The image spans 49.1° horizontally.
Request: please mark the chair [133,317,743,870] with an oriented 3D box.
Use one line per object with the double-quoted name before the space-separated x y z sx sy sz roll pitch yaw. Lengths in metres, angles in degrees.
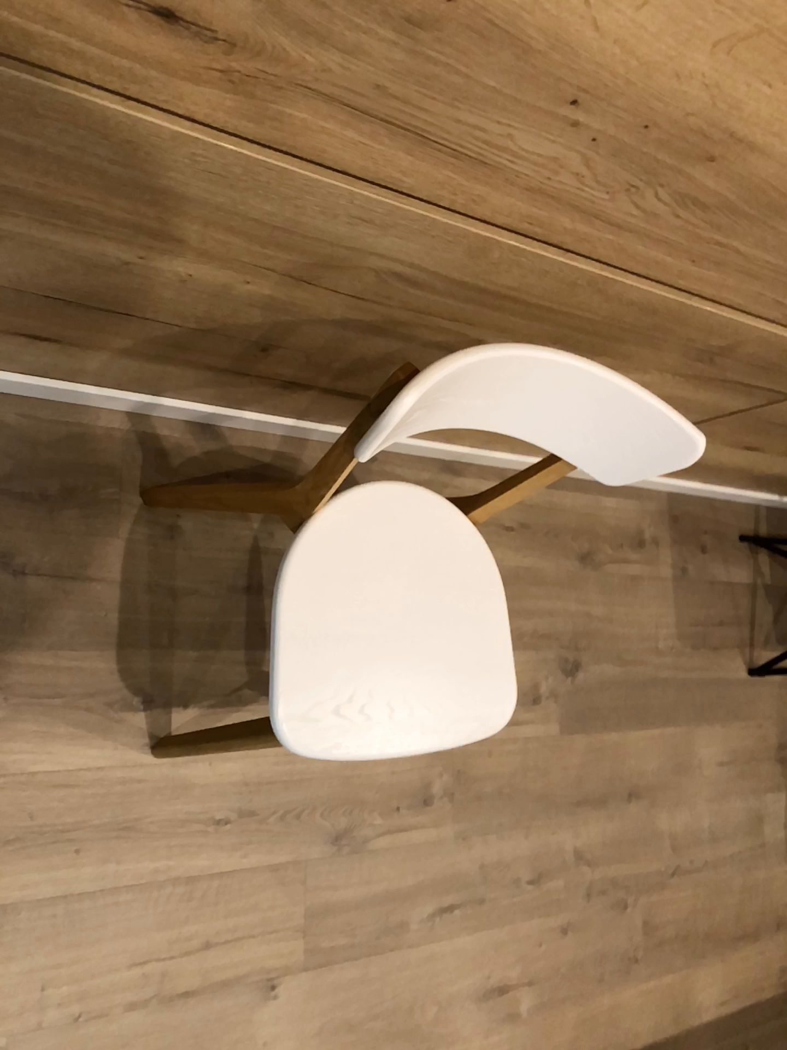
"chair" -0.014 0.111 1.308 0.502 0.827 0.530 1 82 -34
